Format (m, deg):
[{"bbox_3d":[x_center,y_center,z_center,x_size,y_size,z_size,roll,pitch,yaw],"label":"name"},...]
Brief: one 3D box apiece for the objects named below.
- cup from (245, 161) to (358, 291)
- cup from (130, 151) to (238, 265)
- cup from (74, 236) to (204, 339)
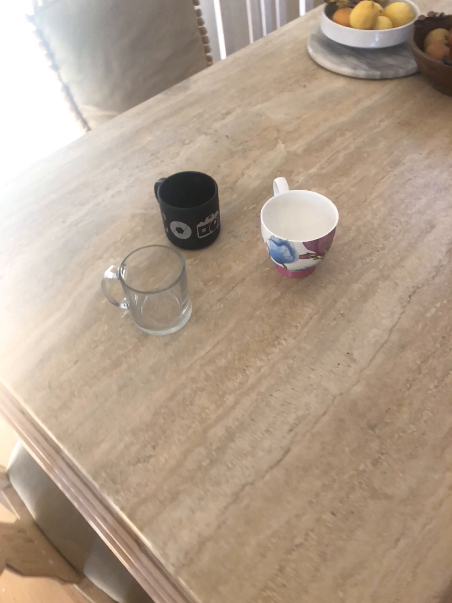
[{"bbox_3d":[0.103,-0.114,0.731,0.120,0.089,0.161,-9,50,-4],"label":"cup"},{"bbox_3d":[-0.065,-0.151,0.791,0.100,0.089,0.140,-31,55,-20],"label":"cup"},{"bbox_3d":[-0.111,-0.019,0.675,0.140,0.089,0.091,5,51,8],"label":"cup"}]
